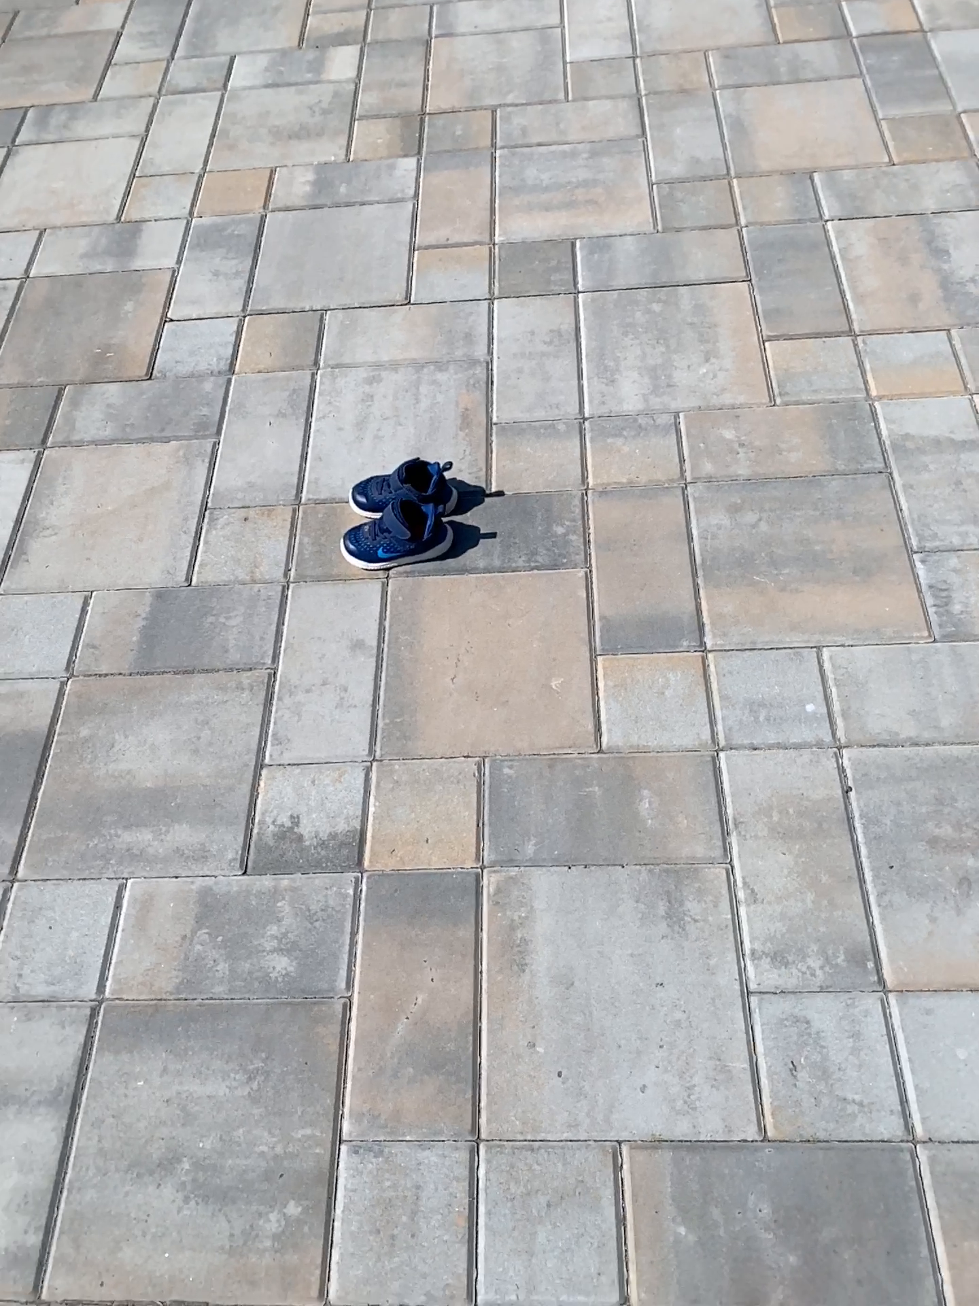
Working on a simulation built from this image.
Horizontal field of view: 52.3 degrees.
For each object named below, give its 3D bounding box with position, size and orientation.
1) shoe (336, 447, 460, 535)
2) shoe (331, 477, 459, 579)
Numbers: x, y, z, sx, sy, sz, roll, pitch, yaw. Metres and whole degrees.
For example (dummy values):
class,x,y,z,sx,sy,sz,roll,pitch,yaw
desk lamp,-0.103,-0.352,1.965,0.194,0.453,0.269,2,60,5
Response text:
class,x,y,z,sx,sy,sz,roll,pitch,yaw
shoe,-0.137,-0.247,1.524,0.170,0.090,0.090,-1,58,5
shoe,-0.137,-0.181,1.454,0.170,0.090,0.090,-7,57,1
